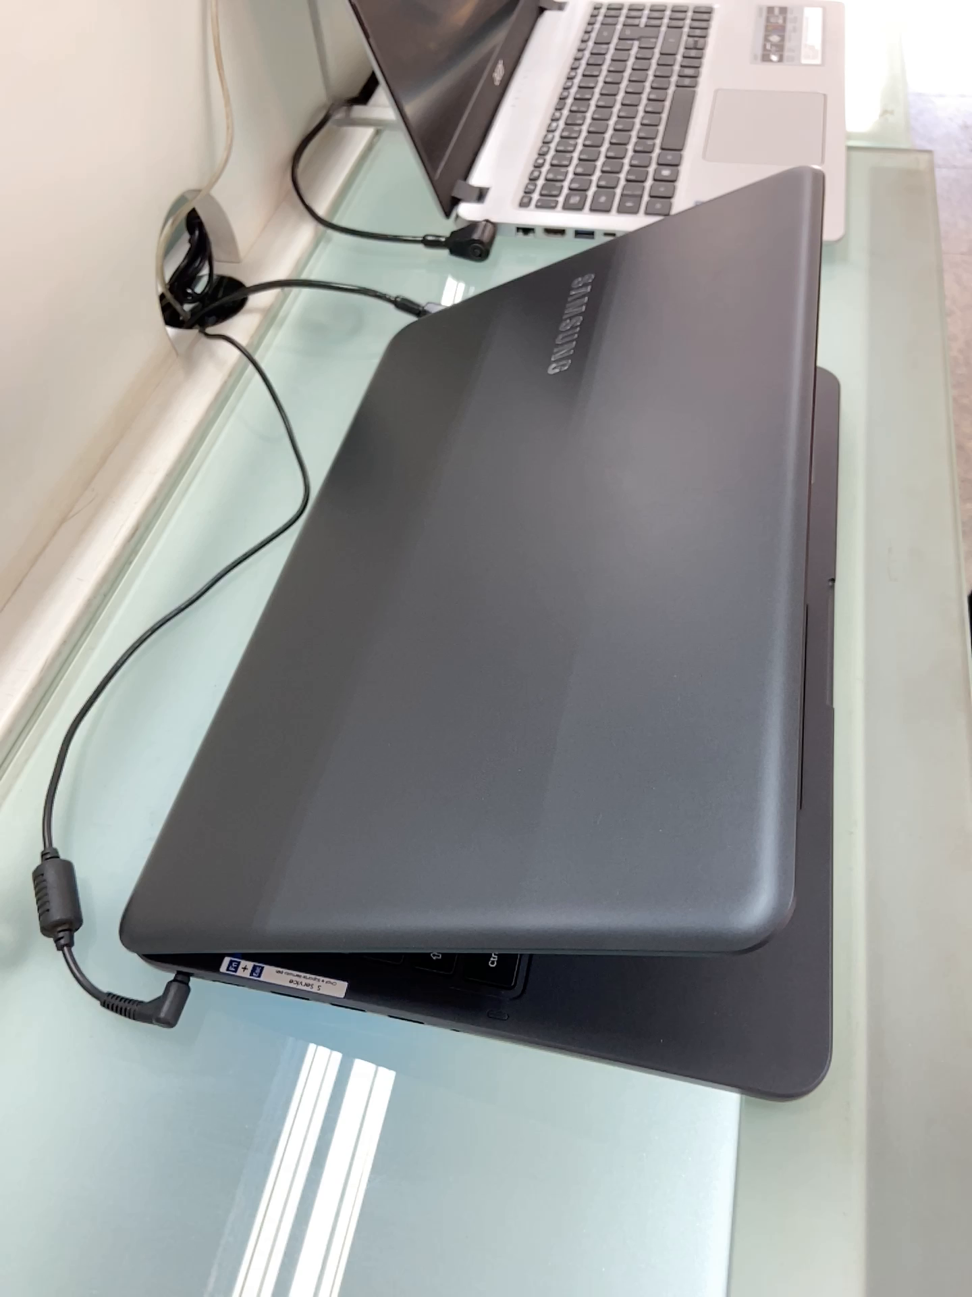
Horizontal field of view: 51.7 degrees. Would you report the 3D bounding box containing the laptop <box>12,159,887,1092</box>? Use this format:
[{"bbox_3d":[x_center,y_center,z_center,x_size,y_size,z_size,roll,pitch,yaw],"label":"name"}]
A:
[{"bbox_3d":[0.024,-0.054,0.412,0.233,0.101,0.378,8,52,10],"label":"laptop"}]
